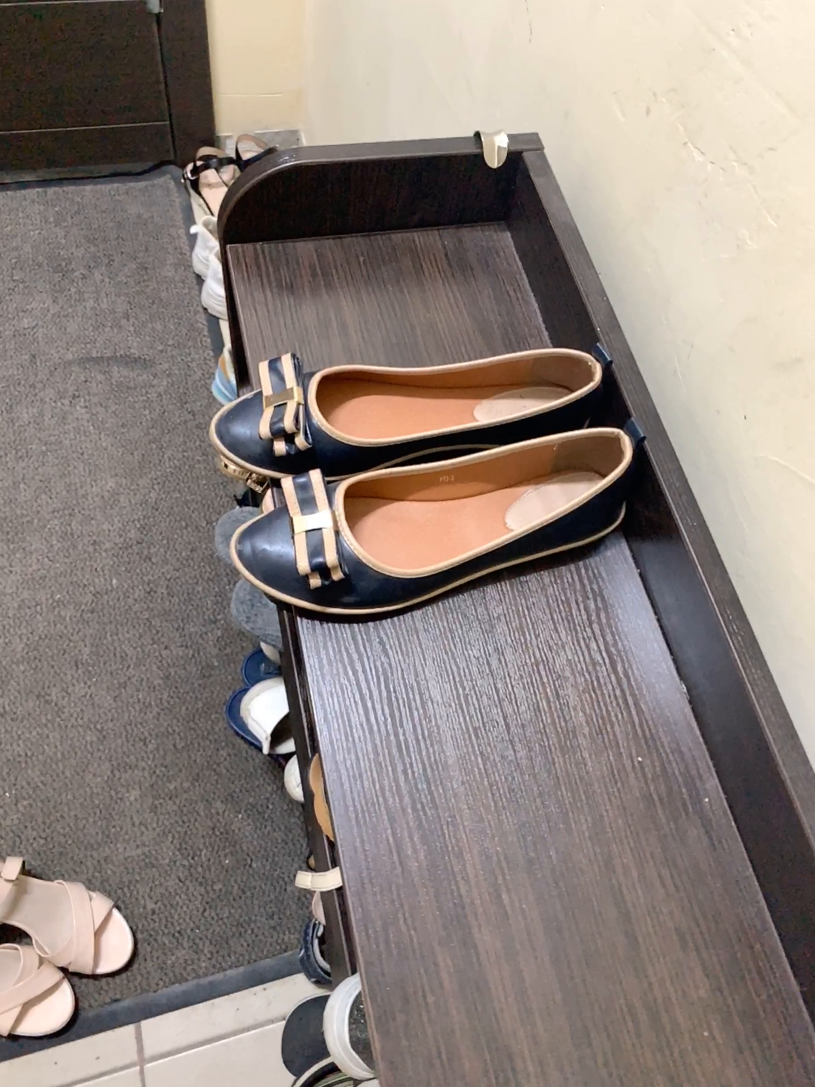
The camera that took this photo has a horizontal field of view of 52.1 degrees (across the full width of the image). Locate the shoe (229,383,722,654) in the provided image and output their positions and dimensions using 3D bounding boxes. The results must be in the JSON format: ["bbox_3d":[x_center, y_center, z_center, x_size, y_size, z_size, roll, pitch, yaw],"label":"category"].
[{"bbox_3d":[0.036,-0.018,0.536,0.280,0.100,0.100,-8,58,-13],"label":"shoe"}]

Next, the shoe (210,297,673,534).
[{"bbox_3d":[0.016,-0.089,0.567,0.280,0.100,0.100,-6,58,-12],"label":"shoe"}]
